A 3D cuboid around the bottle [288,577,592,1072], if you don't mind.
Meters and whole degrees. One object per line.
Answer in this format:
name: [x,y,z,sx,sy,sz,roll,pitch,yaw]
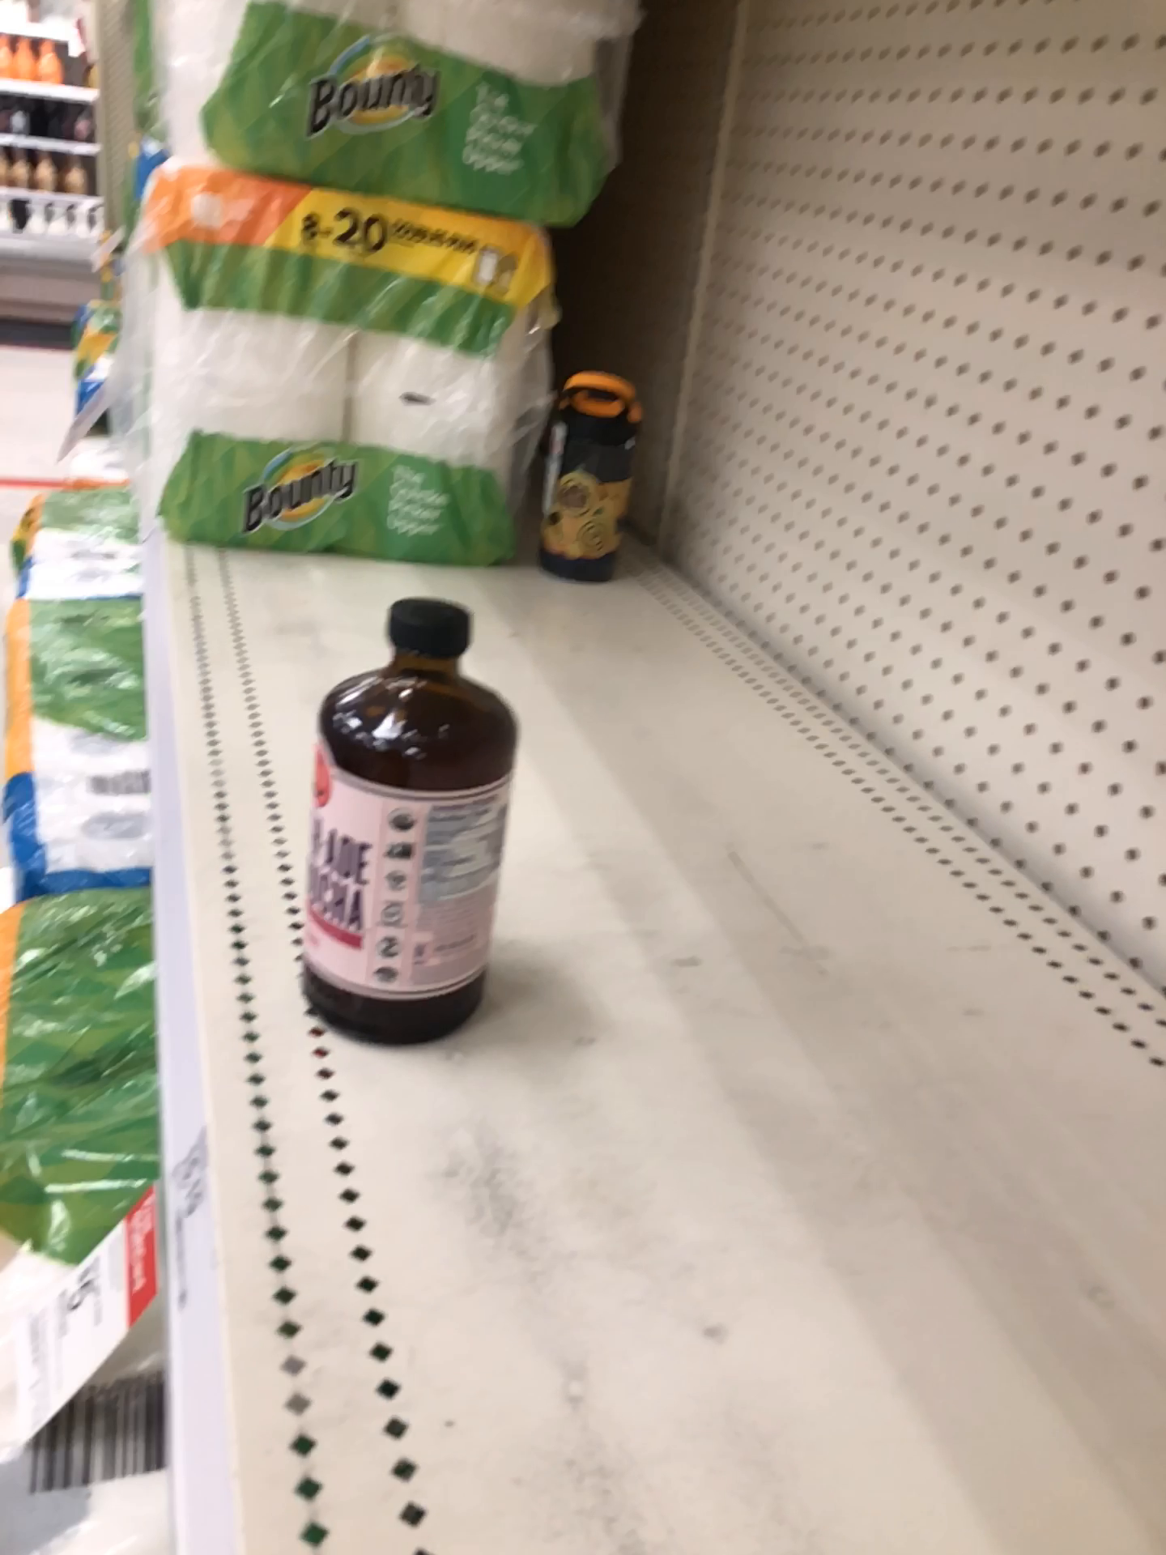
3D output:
bottle: [-0.063,0.015,0.507,0.089,0.169,0.087,6,25,-3]
